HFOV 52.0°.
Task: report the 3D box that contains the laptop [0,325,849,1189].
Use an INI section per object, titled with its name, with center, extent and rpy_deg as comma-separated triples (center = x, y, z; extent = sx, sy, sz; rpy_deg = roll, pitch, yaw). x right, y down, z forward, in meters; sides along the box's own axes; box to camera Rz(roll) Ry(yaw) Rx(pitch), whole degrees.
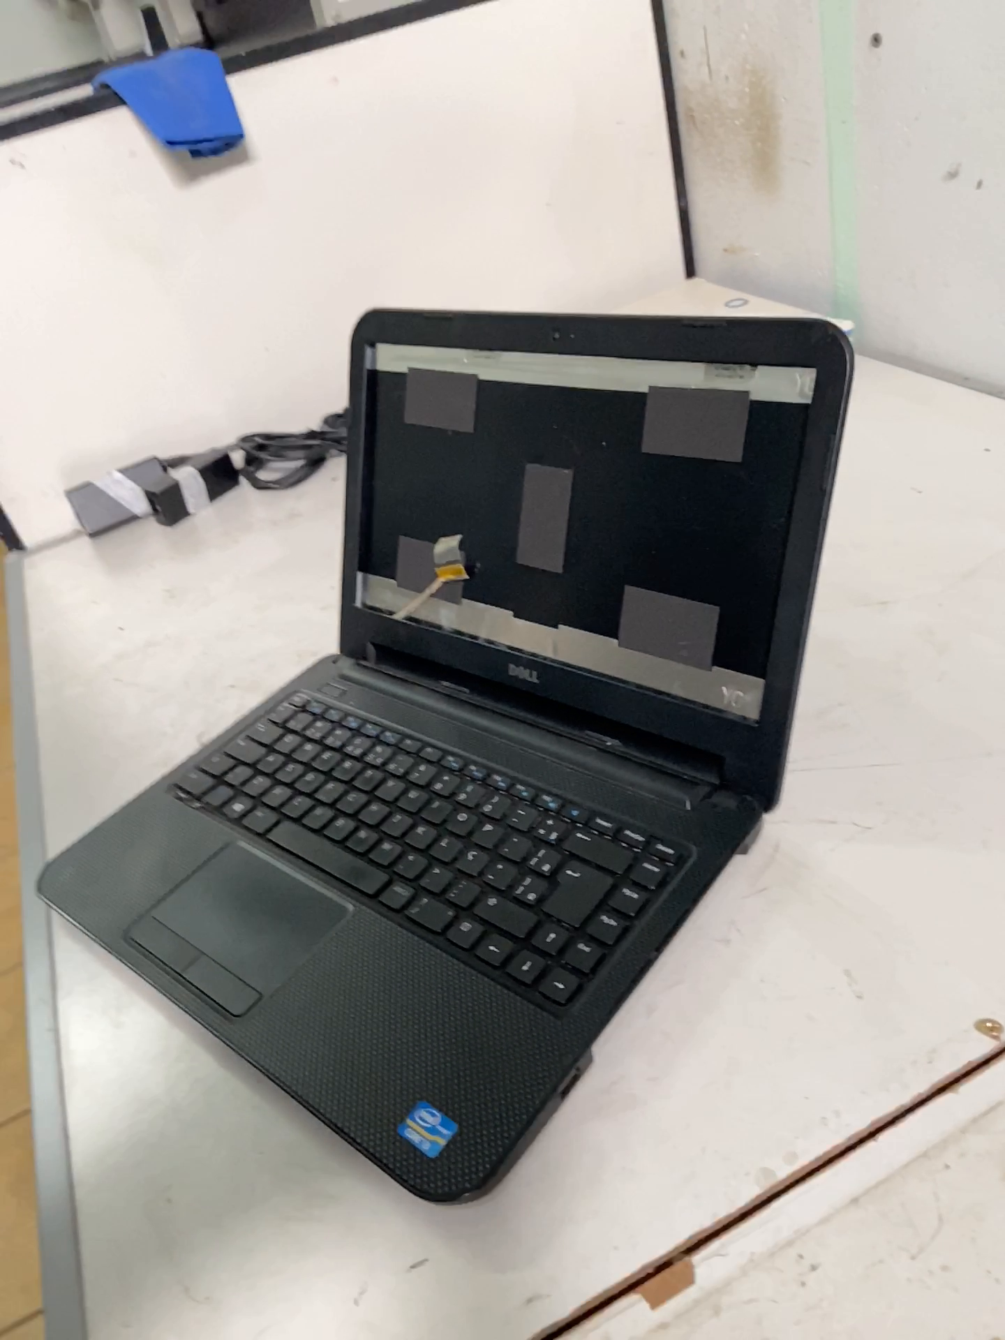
[laptop]
center = -0.058, -0.015, 0.517
extent = 0.320, 0.193, 0.336
rpy_deg = 17, 45, 39
